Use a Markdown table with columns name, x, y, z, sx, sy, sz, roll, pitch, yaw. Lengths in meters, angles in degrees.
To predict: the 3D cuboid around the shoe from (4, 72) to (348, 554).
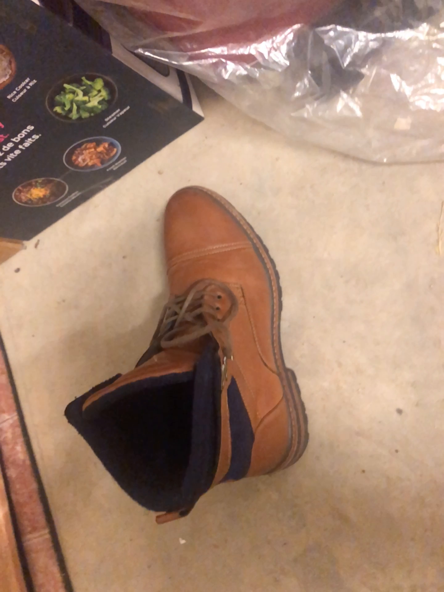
| name | x | y | z | sx | sy | sz | roll | pitch | yaw |
| --- | --- | --- | --- | --- | --- | --- | --- | --- | --- |
| shoe | -0.030 | 0.016 | 0.425 | 0.132 | 0.201 | 0.303 | -23 | 76 | 26 |
